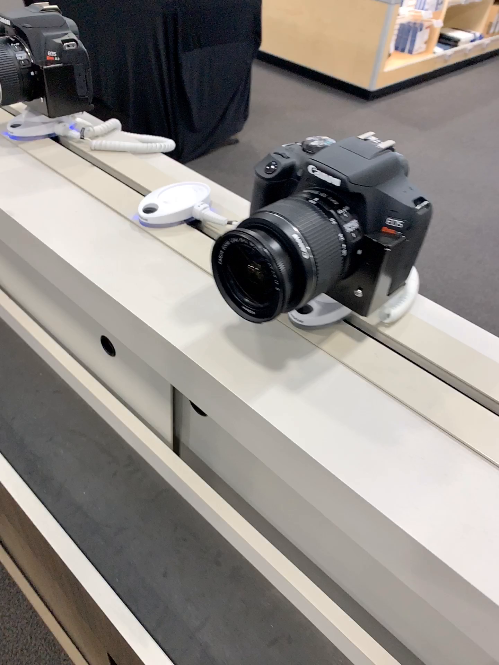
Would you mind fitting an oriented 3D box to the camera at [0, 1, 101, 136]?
[{"bbox_3d":[-0.267,-0.305,0.586,0.122,0.089,0.135,32,48,24],"label":"camera"}]

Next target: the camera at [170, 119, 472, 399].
[{"bbox_3d":[0.044,-0.062,0.364,0.134,0.101,0.146,36,50,27],"label":"camera"}]
